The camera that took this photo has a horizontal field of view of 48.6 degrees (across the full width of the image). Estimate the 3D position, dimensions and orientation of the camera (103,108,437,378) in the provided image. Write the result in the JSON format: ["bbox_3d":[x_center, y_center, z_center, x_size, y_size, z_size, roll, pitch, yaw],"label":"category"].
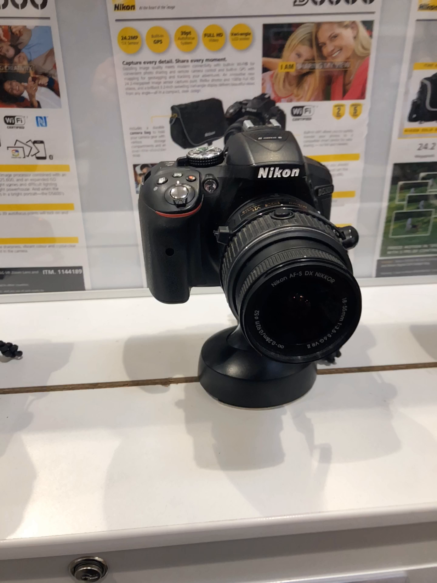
[{"bbox_3d":[0.014,-0.041,0.269,0.130,0.089,0.151,-3,30,-6],"label":"camera"}]
